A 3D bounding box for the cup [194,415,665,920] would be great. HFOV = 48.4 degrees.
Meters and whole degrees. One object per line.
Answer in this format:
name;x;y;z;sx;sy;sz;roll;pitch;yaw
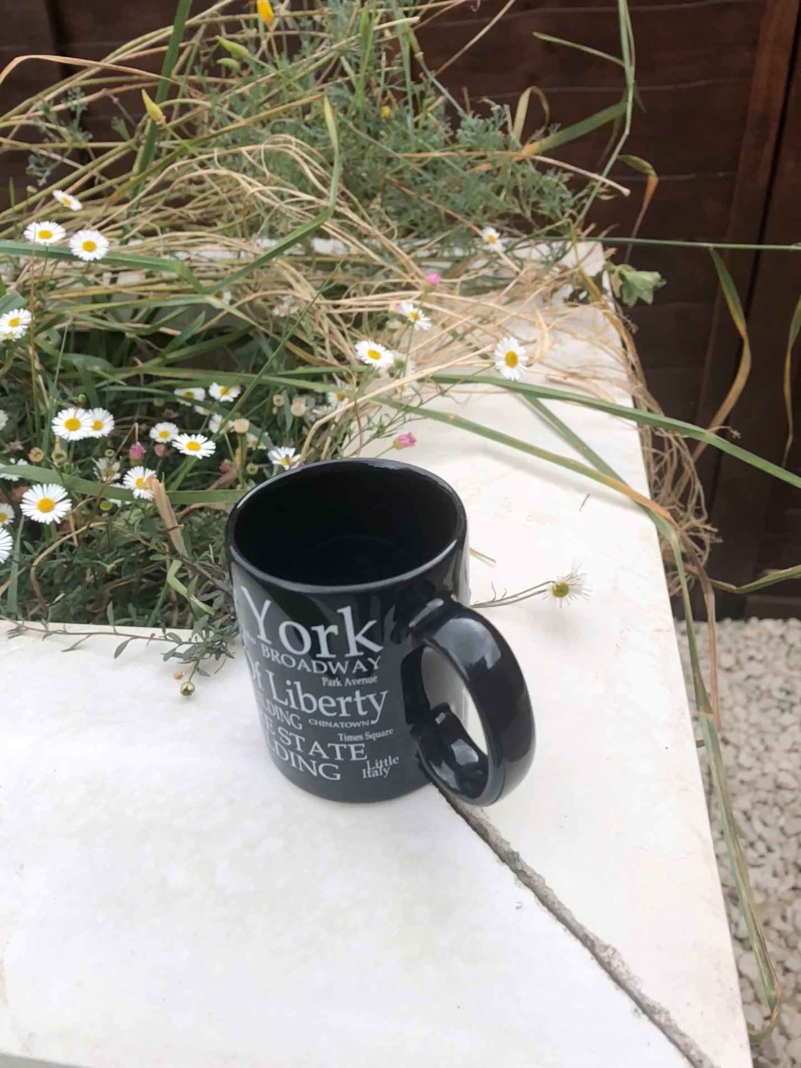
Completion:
cup;0.005;0.025;0.219;0.060;0.069;0.090;-29;41;-34
